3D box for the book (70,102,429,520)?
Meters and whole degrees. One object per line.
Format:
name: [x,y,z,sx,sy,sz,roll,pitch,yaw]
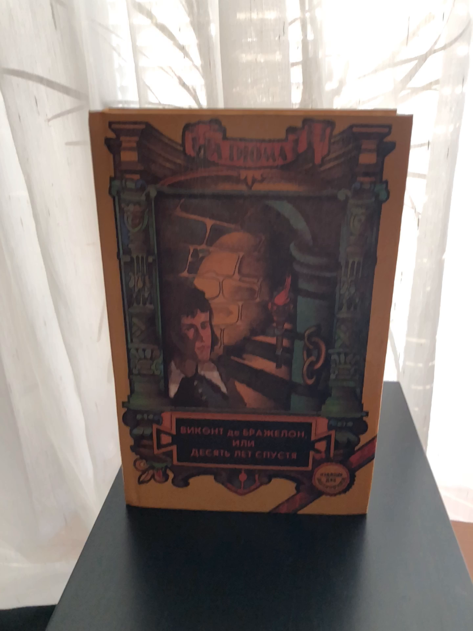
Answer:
book: [0.008,0.005,0.269,0.142,0.209,0.045,0,23,4]
